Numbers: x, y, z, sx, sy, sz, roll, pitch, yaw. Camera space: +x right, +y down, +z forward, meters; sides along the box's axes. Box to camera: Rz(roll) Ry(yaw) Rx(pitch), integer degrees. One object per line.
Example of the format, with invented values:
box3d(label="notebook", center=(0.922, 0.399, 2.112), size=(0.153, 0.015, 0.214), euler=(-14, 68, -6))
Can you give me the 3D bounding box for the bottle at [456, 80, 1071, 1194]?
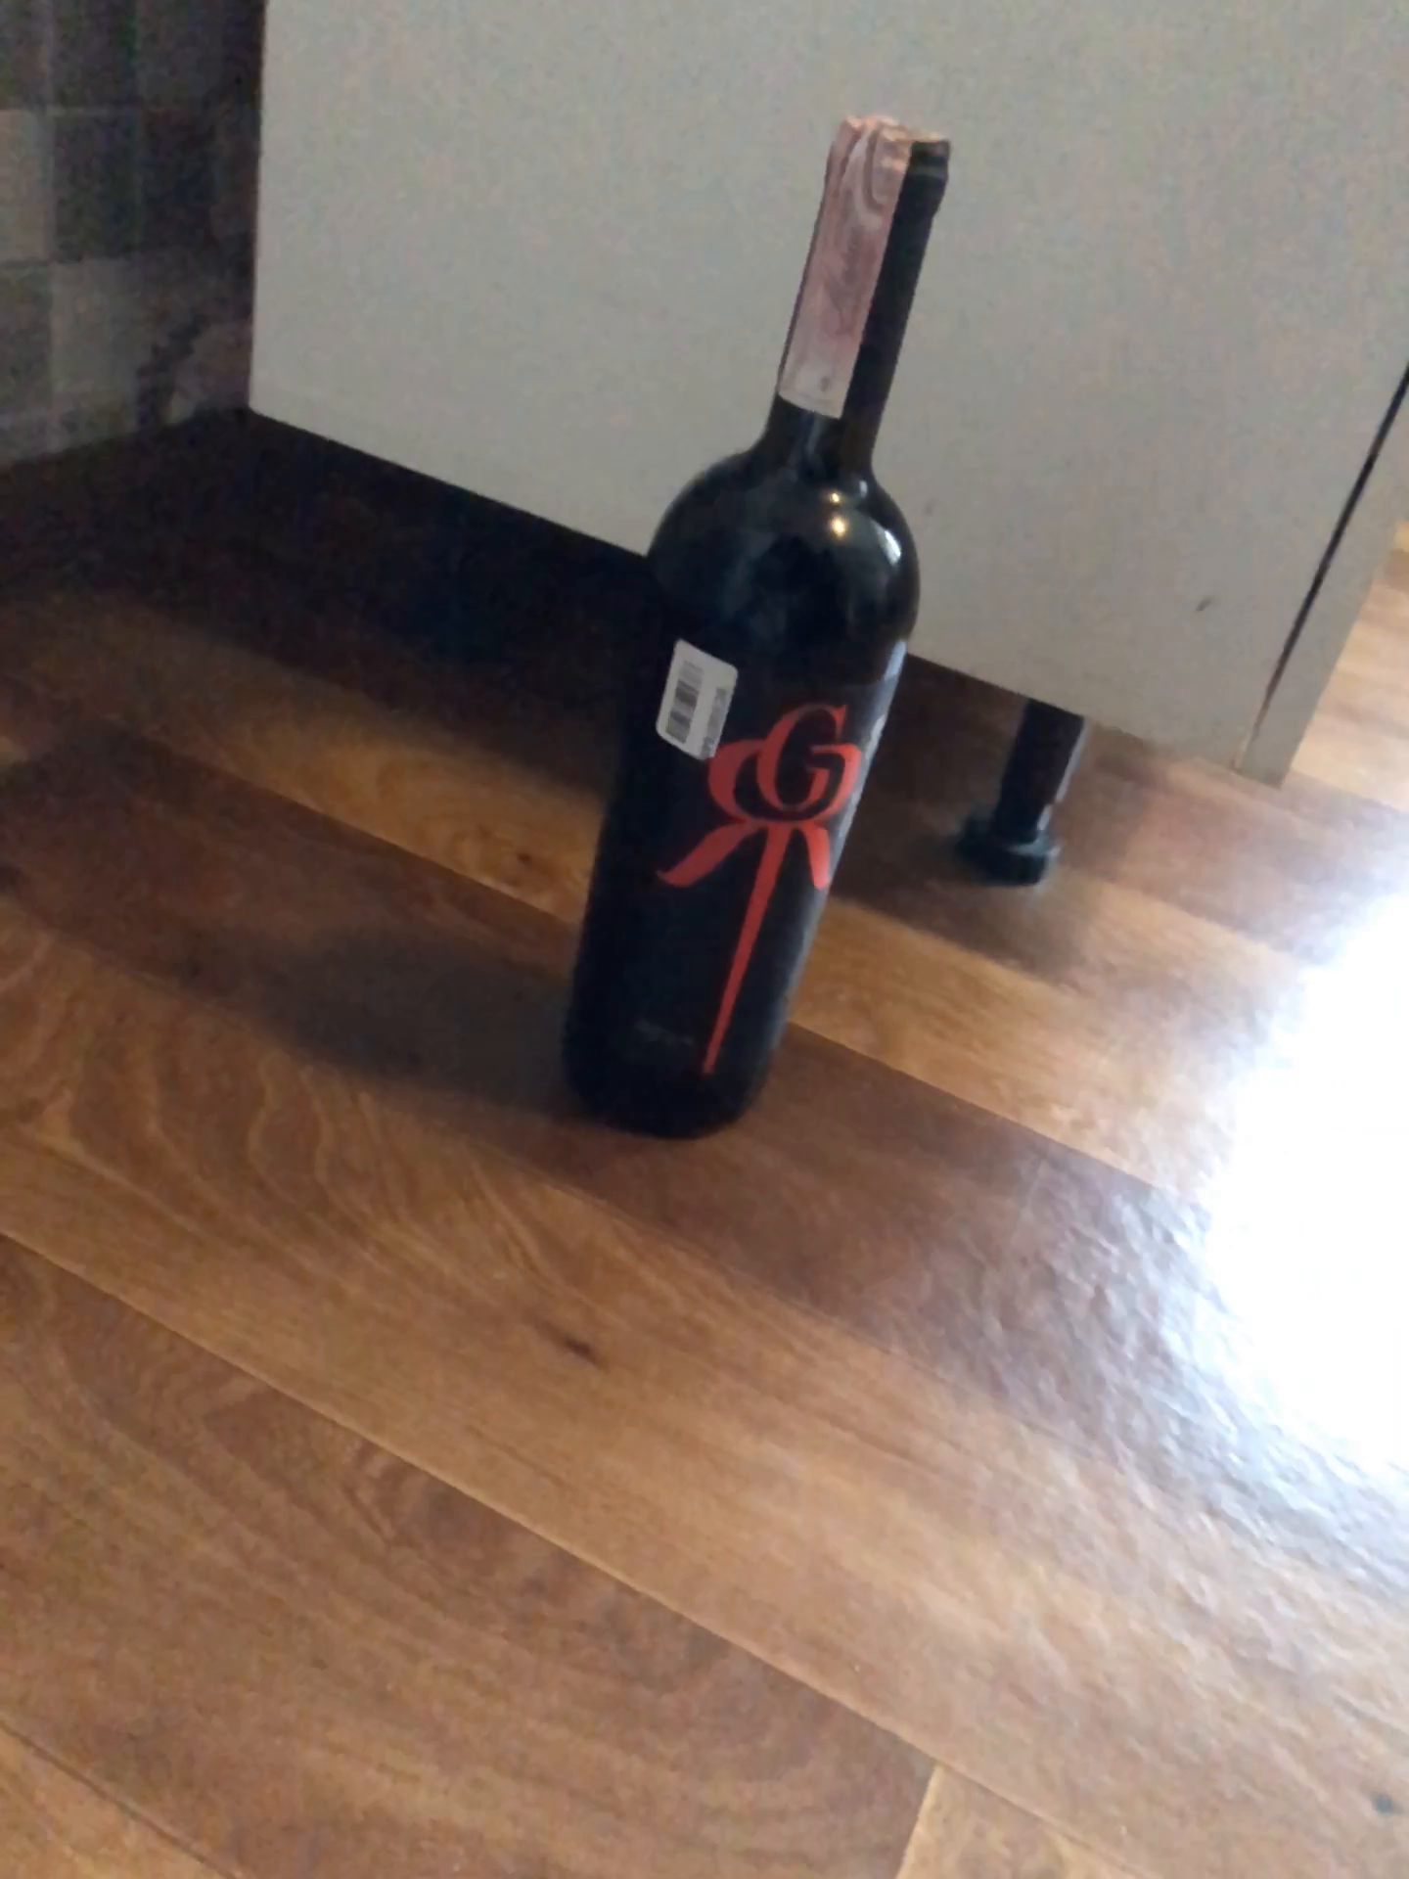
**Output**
box3d(label="bottle", center=(0.006, -0.078, 0.461), size=(0.090, 0.297, 0.091), euler=(10, 33, -6))
